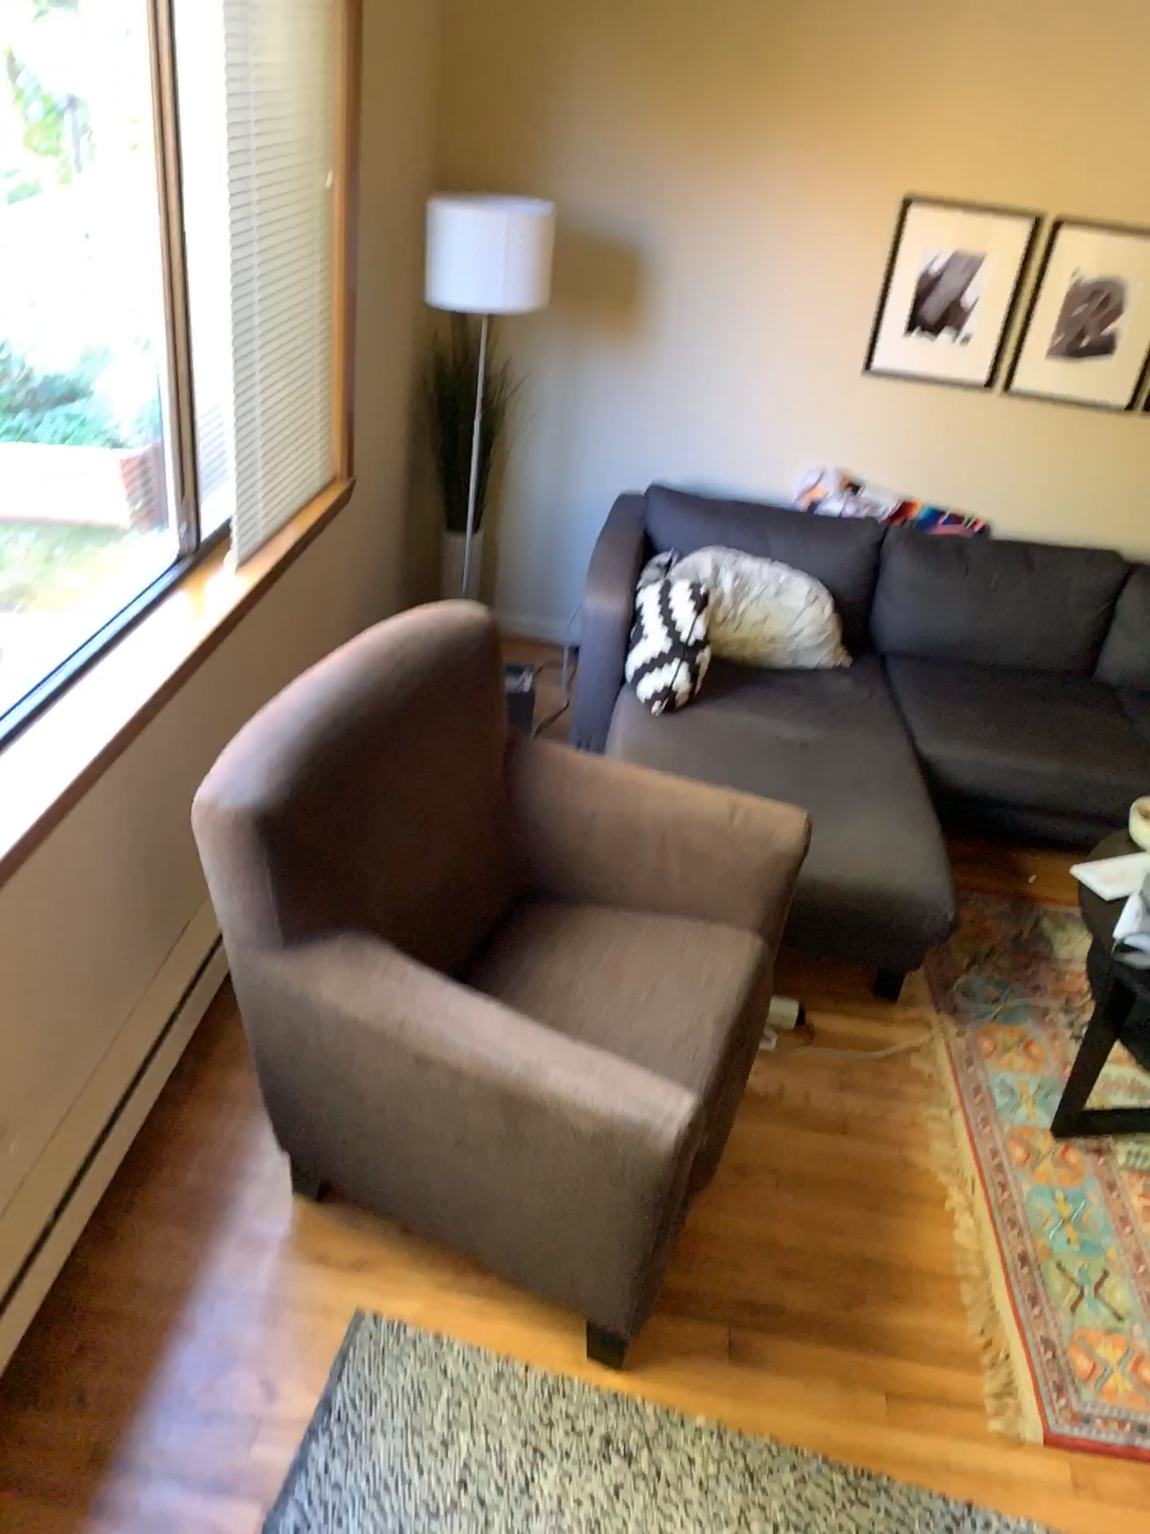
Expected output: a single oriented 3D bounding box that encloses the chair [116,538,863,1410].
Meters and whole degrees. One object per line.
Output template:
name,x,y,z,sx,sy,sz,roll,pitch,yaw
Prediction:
chair,-0.073,0.247,1.927,0.801,0.875,0.884,14,31,15
